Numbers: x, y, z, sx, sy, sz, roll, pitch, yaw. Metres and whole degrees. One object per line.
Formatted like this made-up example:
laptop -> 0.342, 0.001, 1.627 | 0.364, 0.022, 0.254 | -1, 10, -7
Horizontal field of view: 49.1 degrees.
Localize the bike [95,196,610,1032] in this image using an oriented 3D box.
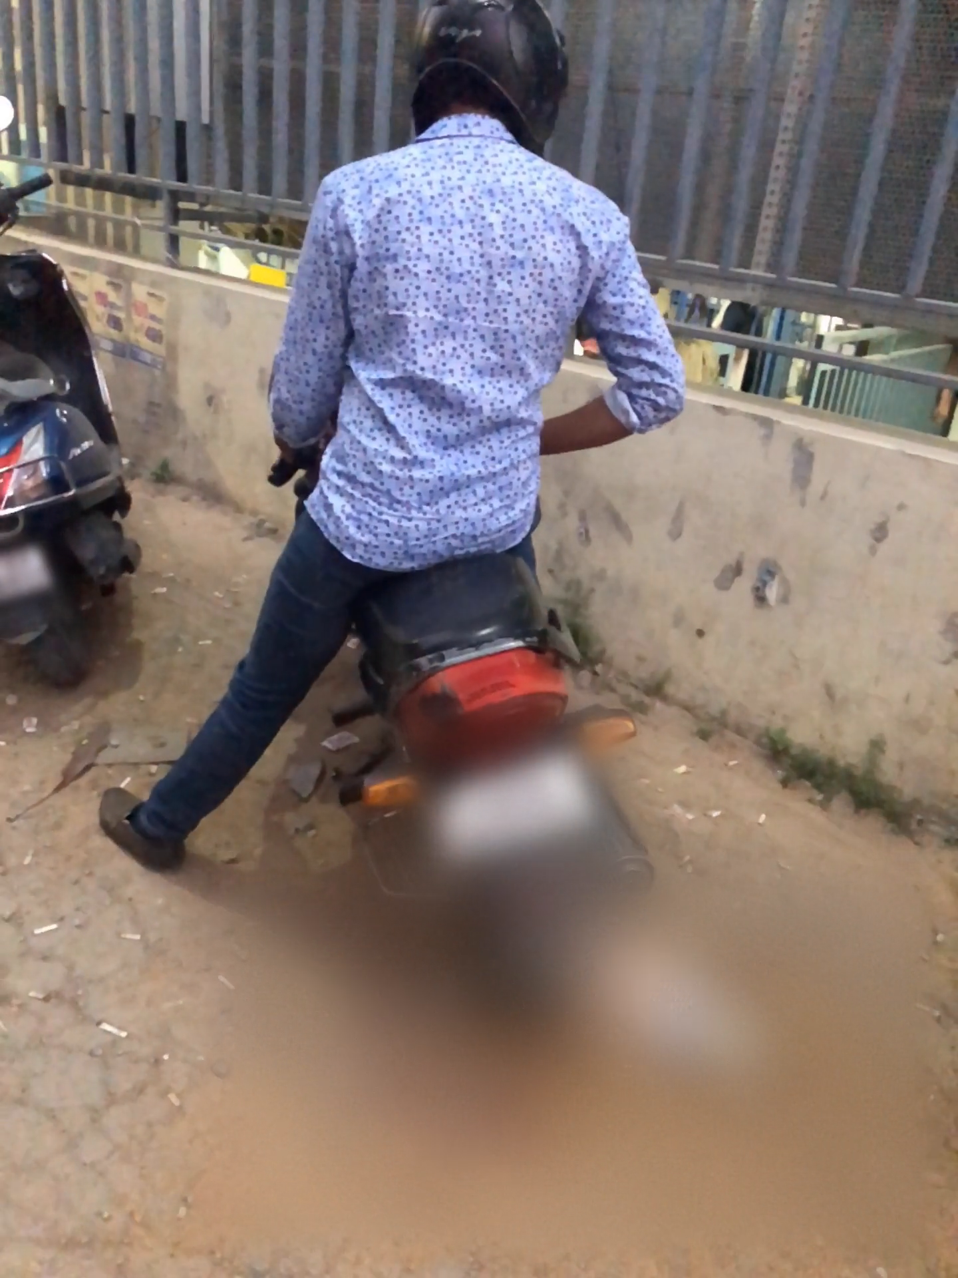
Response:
bike -> -0.415, -0.229, 2.087 | 0.425, 0.830, 1.659 | -5, 33, -24
